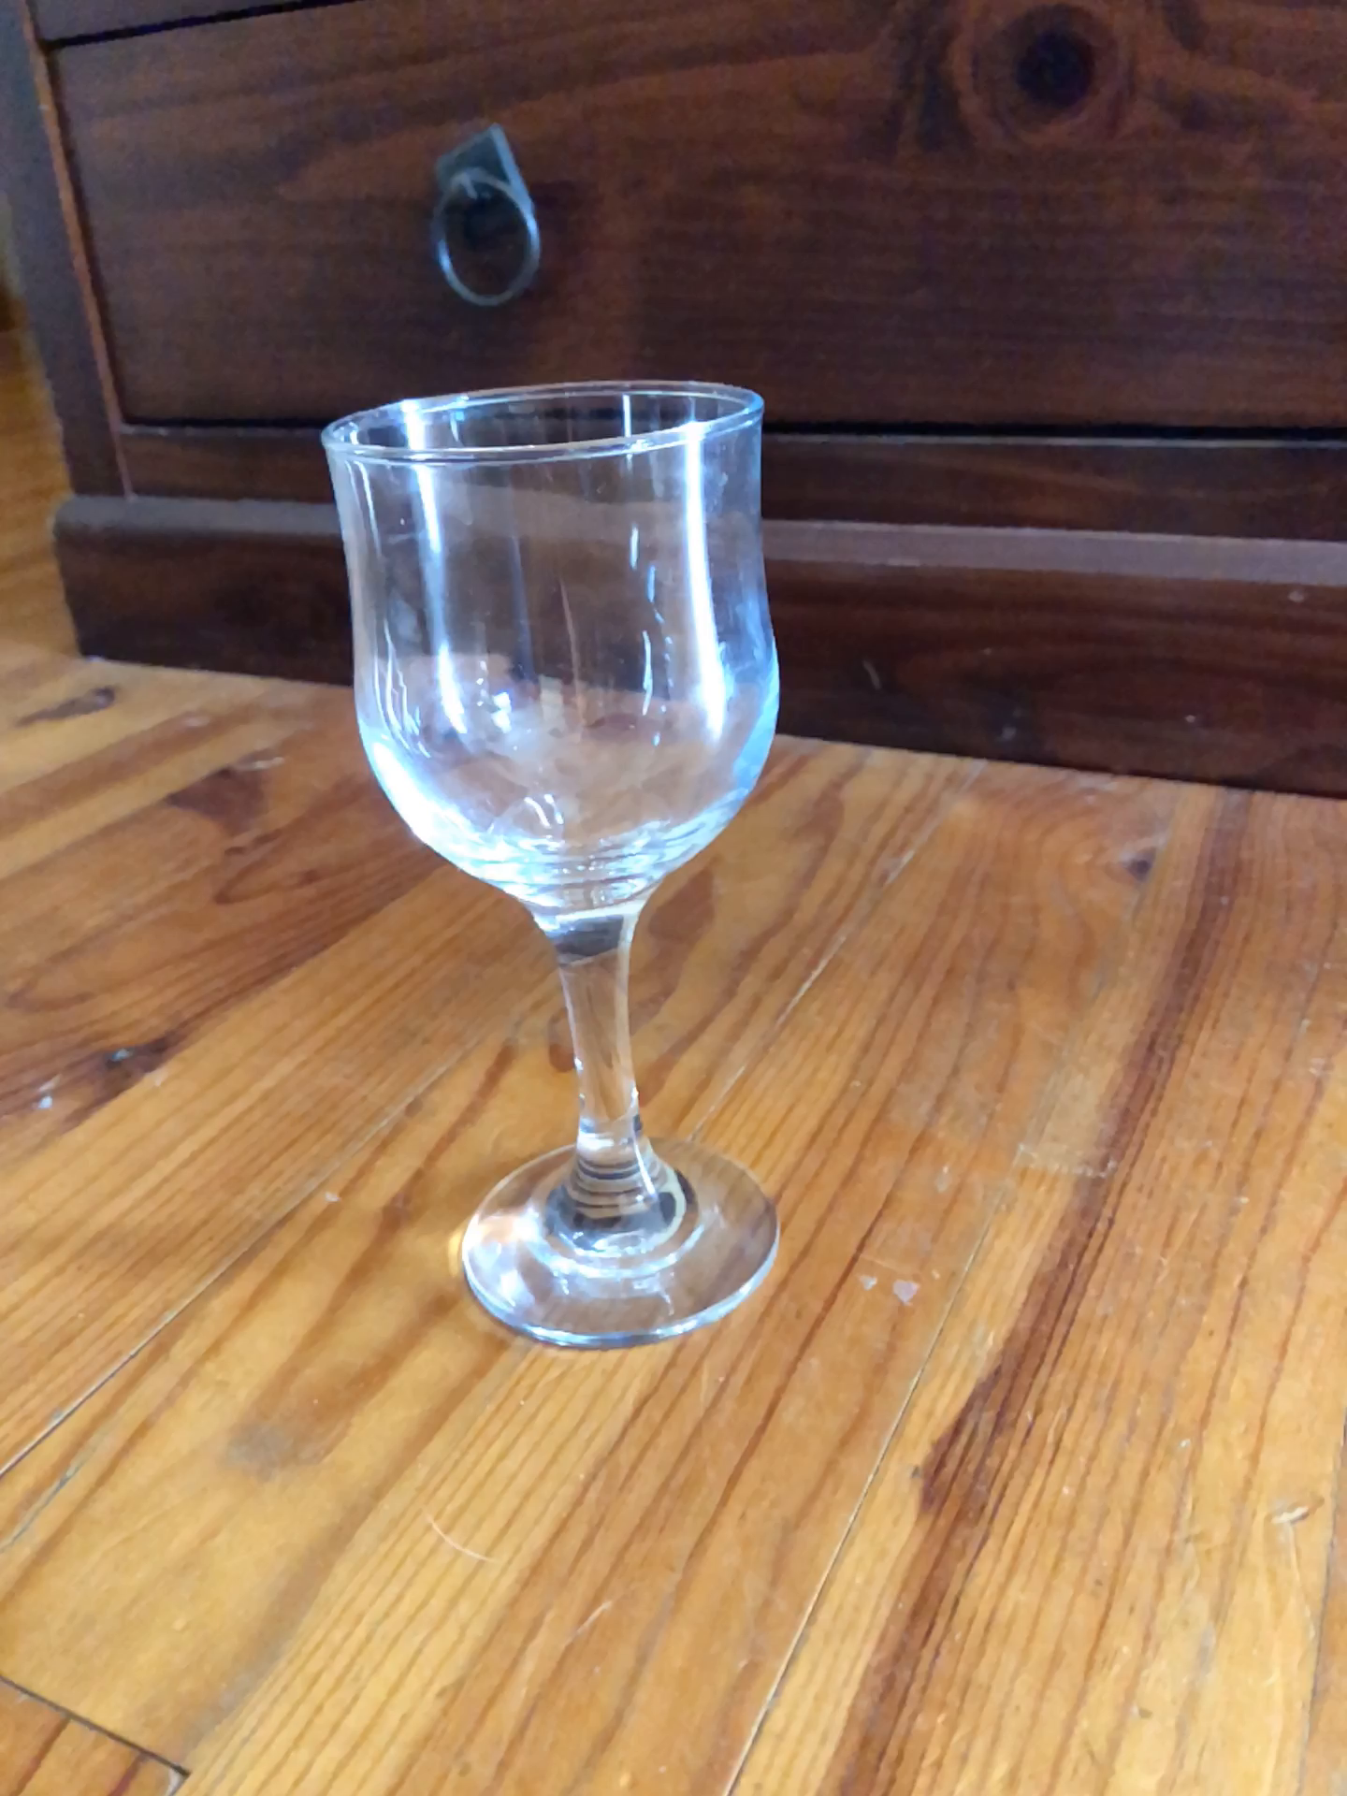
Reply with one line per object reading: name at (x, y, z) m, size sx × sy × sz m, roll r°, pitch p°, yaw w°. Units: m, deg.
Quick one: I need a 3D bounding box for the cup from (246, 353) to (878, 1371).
cup at (-0.012, -0.007, 0.266) m, size 0.082 × 0.157 × 0.077 m, roll -4°, pitch 25°, yaw 2°
